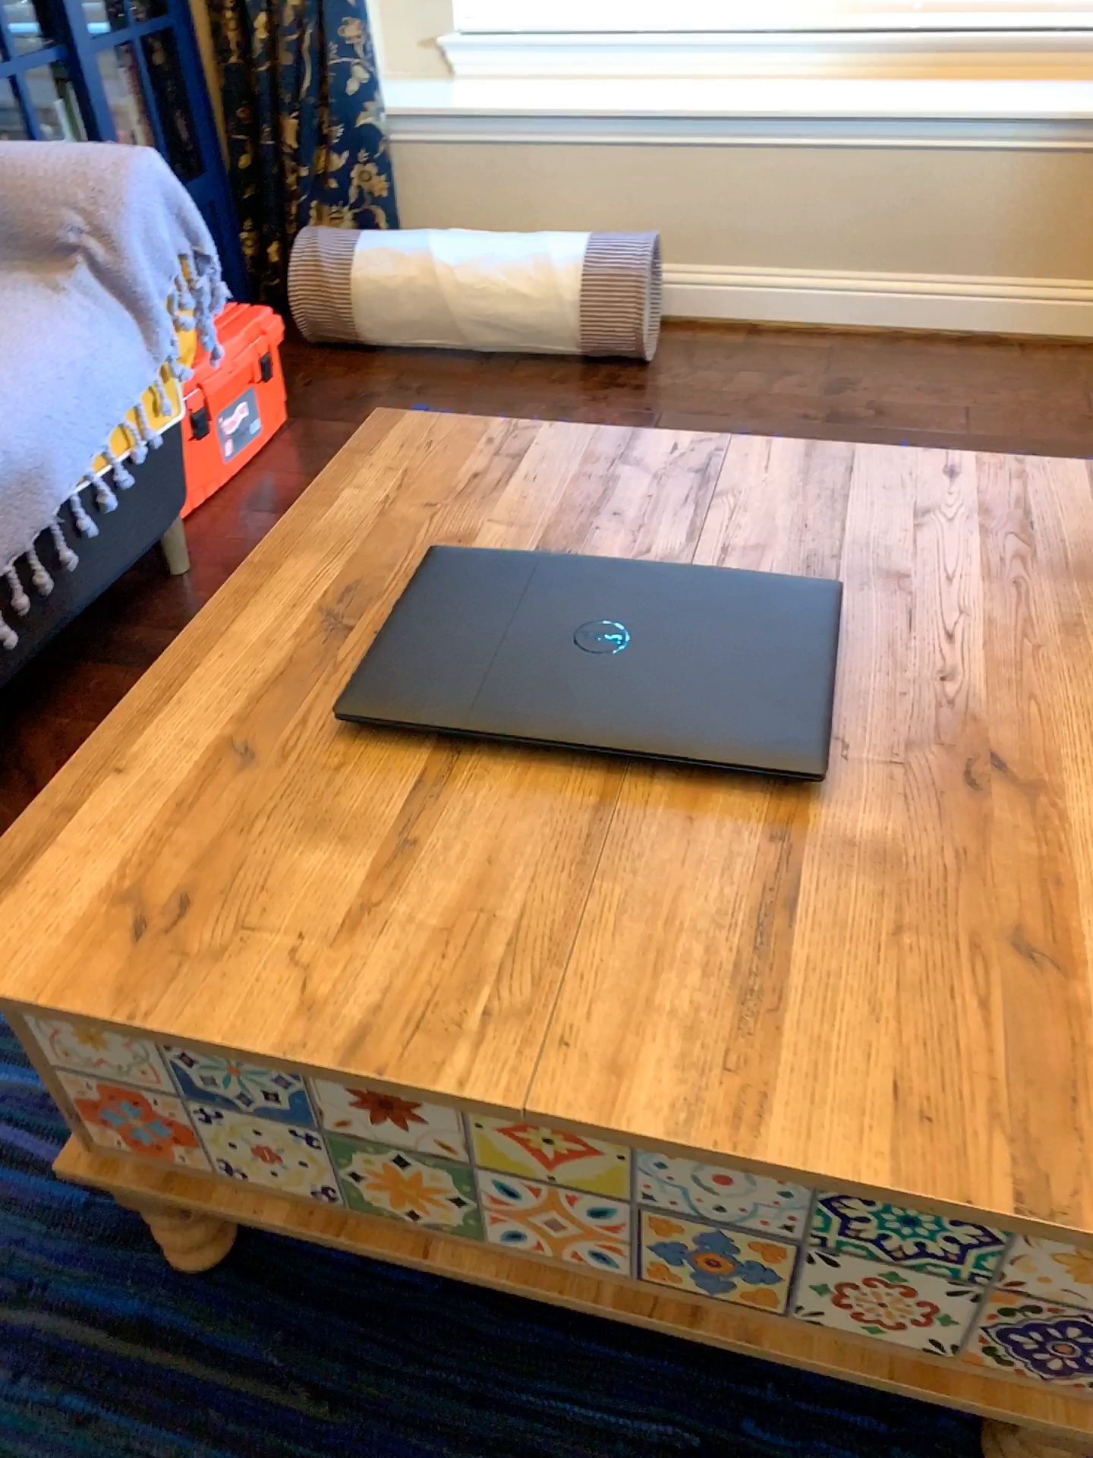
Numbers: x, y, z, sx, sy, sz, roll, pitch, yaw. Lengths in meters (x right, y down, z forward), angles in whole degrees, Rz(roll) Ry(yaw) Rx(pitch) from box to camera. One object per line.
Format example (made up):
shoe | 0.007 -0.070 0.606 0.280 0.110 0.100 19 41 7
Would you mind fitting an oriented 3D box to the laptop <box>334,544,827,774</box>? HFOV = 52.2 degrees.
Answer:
laptop | 0.036 -0.067 0.867 0.346 0.001 0.228 7 42 12
